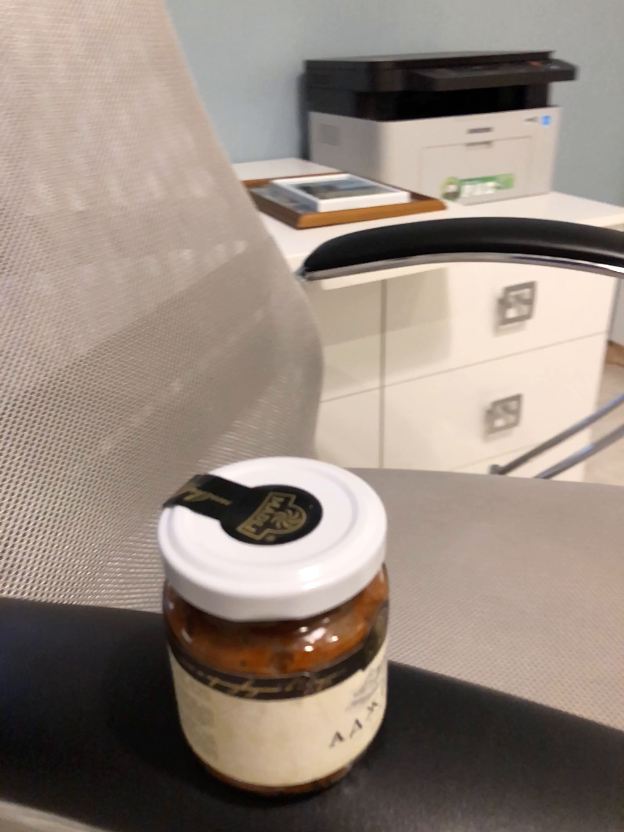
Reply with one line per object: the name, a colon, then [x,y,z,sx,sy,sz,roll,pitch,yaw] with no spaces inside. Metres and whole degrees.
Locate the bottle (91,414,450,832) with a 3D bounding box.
bottle: [-0.006,0.050,0.176,0.060,0.070,0.060,15,32,27]
